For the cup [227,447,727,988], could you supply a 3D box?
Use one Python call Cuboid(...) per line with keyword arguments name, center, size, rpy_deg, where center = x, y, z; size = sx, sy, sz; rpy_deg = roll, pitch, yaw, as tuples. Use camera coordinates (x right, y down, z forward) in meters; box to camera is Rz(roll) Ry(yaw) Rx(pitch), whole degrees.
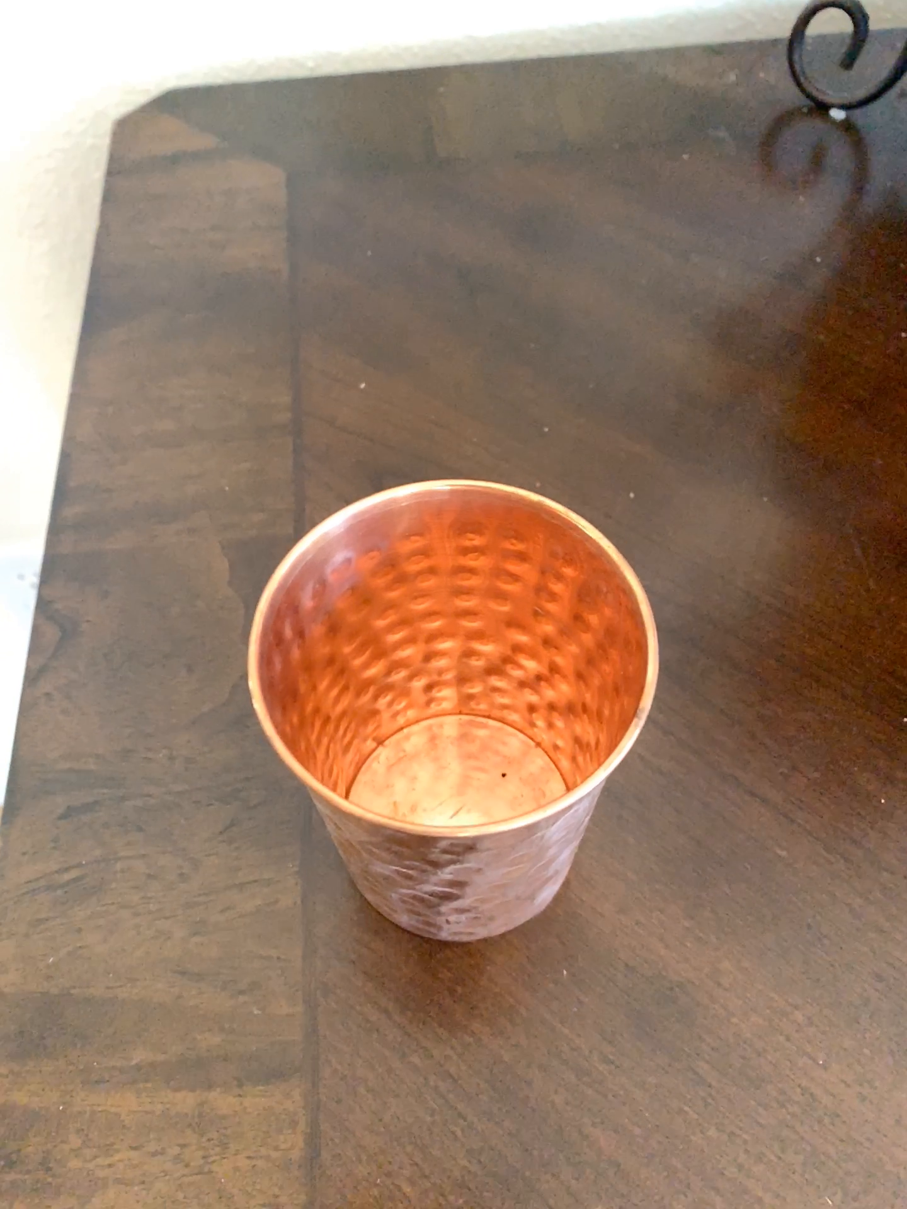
Cuboid(name="cup", center=(0.000, 0.026, 0.192), size=(0.070, 0.083, 0.066), rpy_deg=(0, 55, 0))
